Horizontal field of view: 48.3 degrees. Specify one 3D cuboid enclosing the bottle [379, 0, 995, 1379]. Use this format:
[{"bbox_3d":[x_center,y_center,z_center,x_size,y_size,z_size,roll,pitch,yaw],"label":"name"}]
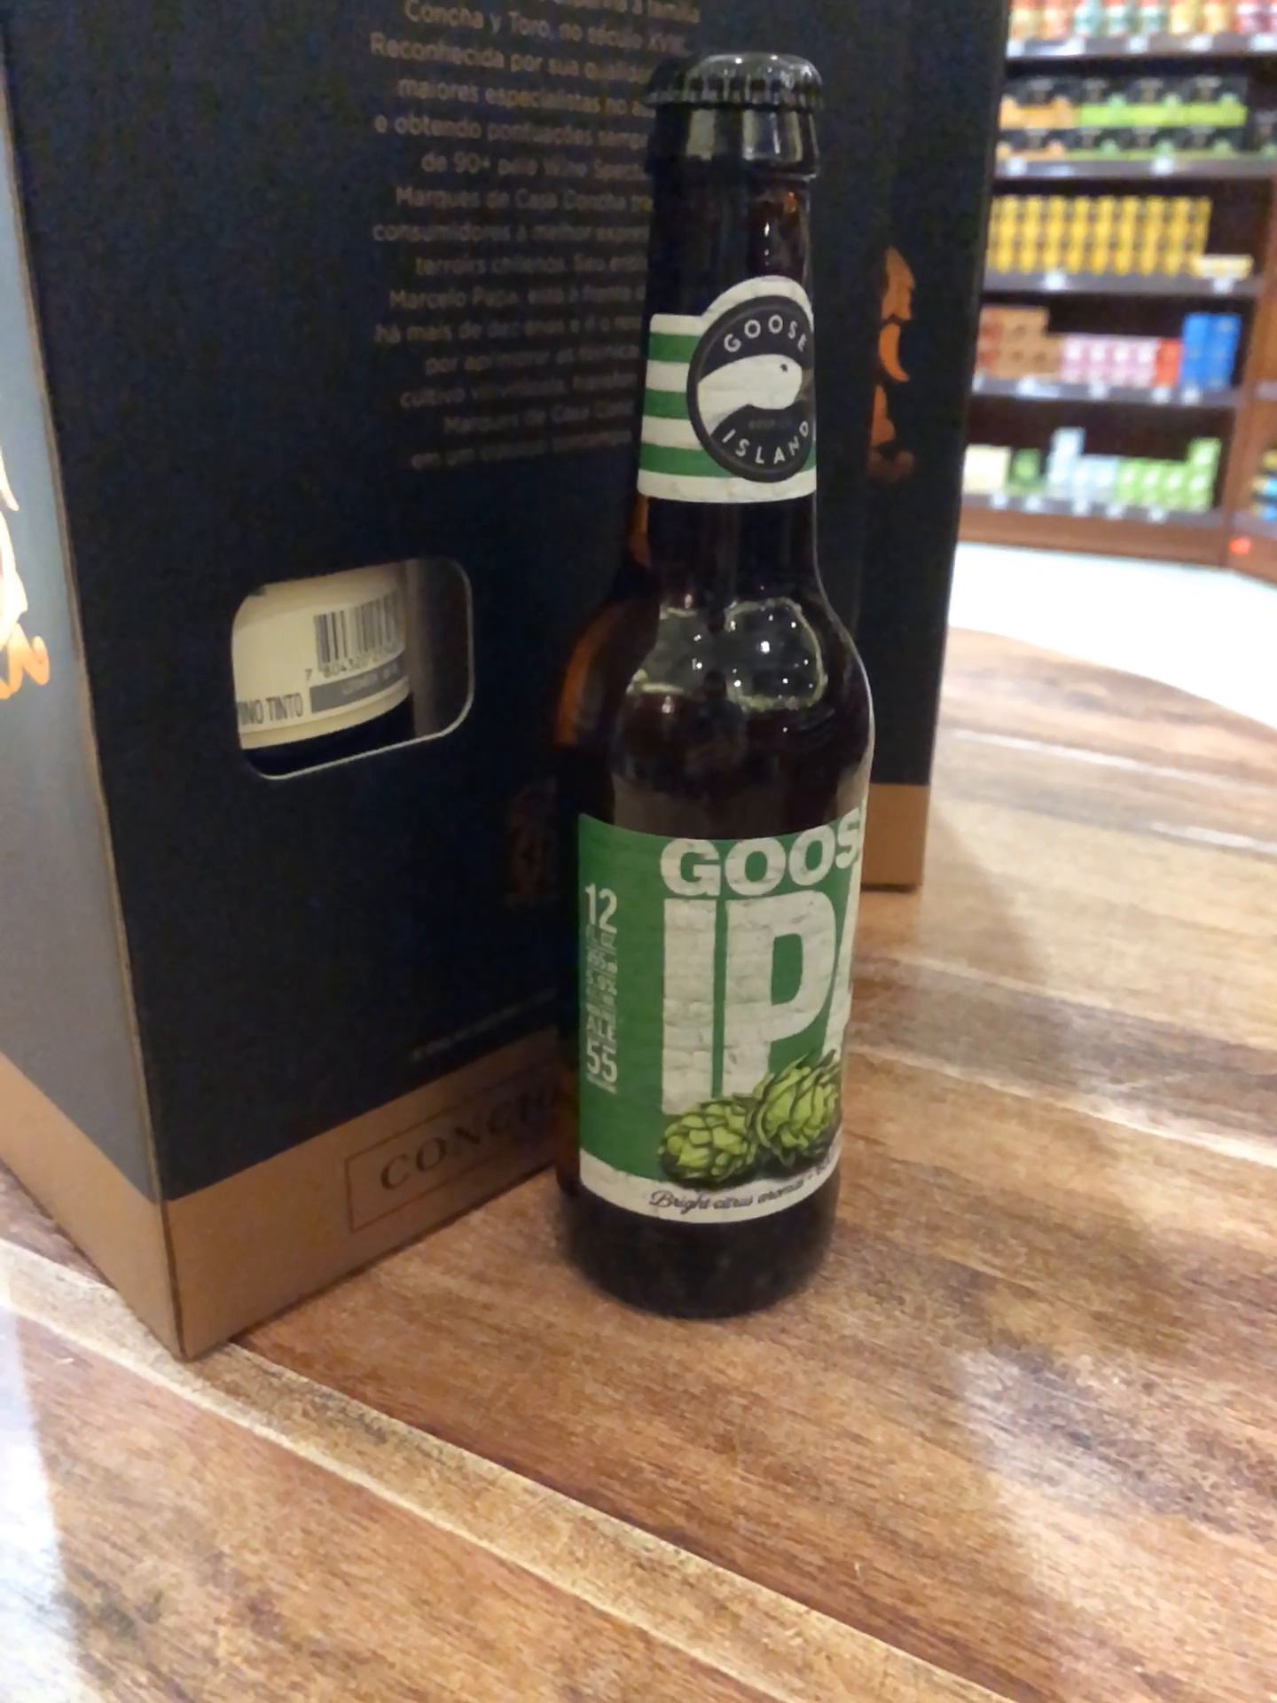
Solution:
[{"bbox_3d":[0.006,-0.027,0.258,0.070,0.228,0.060,-19,30,-38],"label":"bottle"}]
